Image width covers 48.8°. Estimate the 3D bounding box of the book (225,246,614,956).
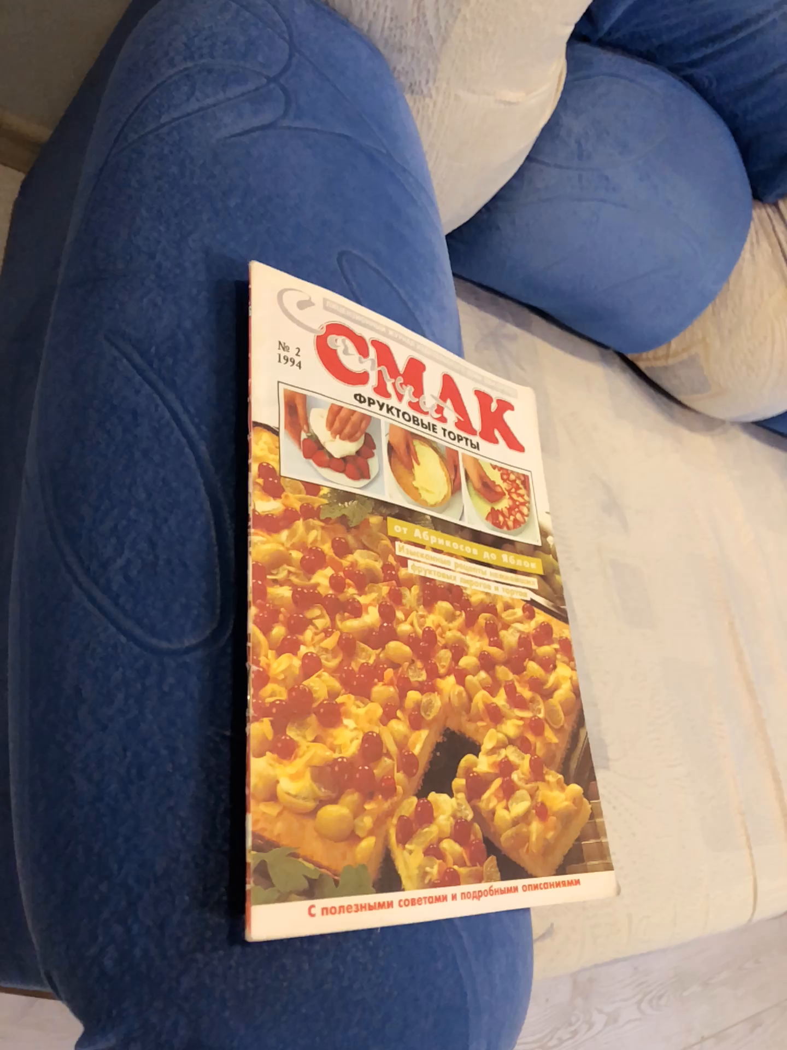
[{"bbox_3d":[0.015,0.026,0.336,0.172,0.010,0.236,15,63,-39],"label":"book"}]
